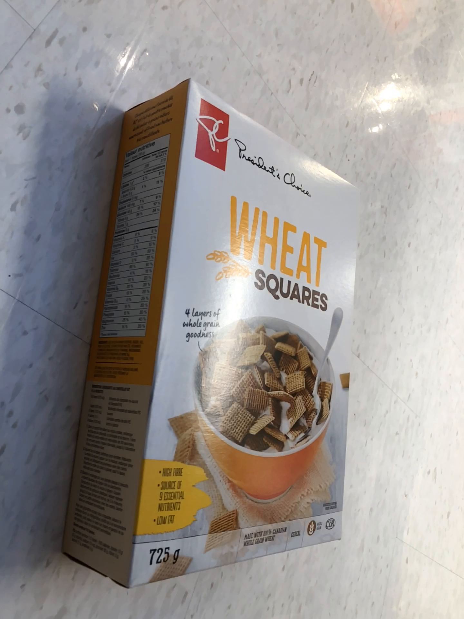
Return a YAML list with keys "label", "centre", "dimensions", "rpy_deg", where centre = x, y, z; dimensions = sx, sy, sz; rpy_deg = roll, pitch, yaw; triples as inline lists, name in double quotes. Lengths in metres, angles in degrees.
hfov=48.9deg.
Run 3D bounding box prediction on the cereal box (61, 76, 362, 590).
- label: "cereal box"
  centre: [0.005, 0.021, 0.382]
  dimensions: [0.201, 0.080, 0.290]
  rpy_deg: [16, 75, -44]
